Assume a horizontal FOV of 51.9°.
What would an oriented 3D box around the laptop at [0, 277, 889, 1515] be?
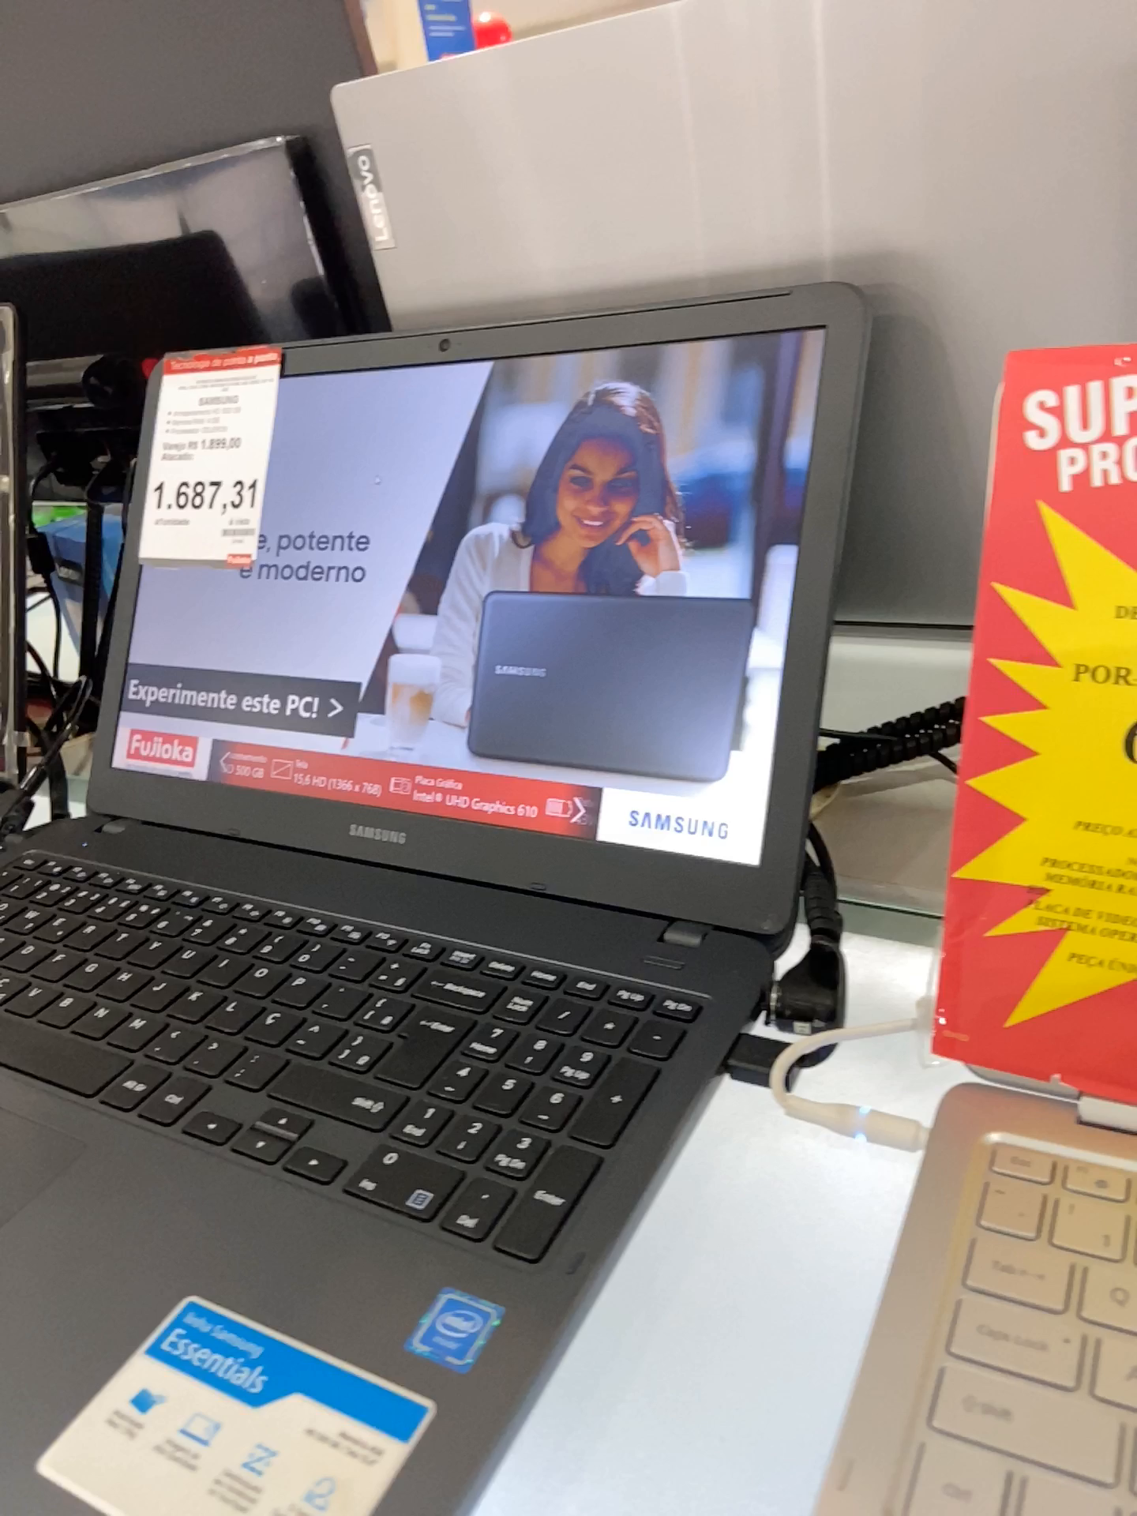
[{"bbox_3d":[-0.130,-0.013,0.405,0.366,0.197,0.371,5,29,31],"label":"laptop"}]
